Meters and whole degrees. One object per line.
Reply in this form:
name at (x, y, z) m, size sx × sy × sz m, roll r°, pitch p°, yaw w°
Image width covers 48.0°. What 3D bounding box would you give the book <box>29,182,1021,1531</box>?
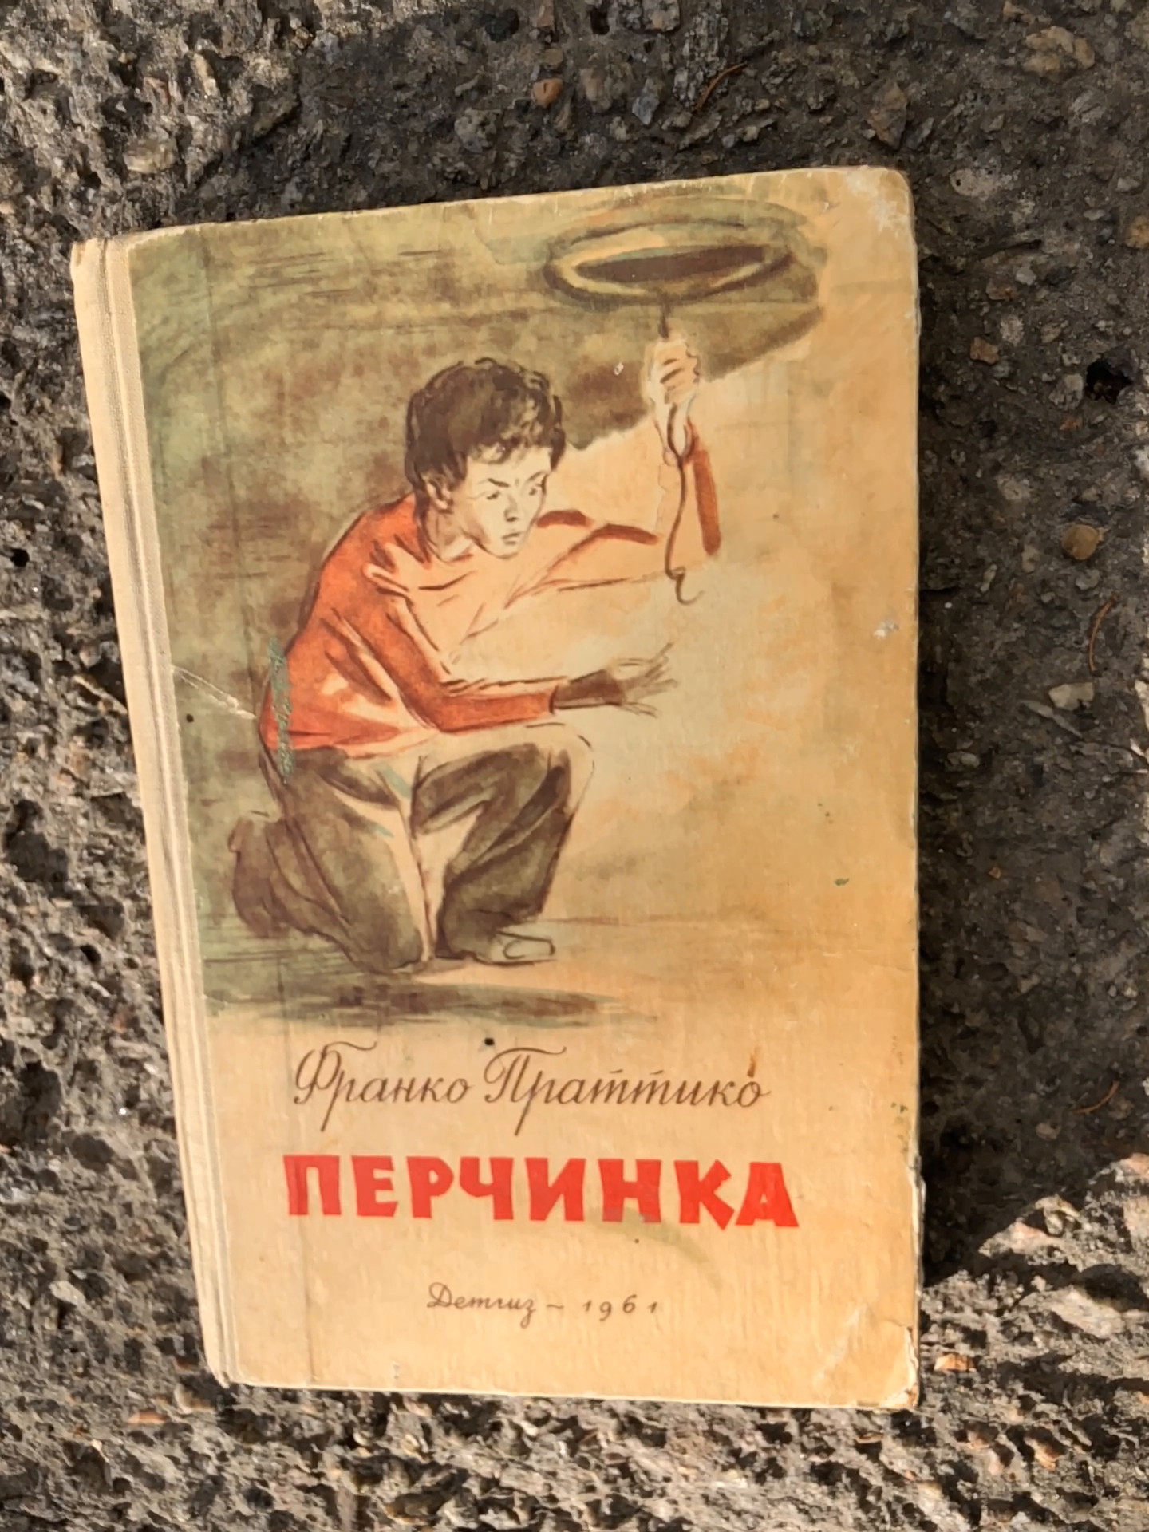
book at (-0.003, 0.024, 0.204) m, size 0.132 × 0.030 × 0.203 m, roll -1°, pitch 101°, yaw 6°
